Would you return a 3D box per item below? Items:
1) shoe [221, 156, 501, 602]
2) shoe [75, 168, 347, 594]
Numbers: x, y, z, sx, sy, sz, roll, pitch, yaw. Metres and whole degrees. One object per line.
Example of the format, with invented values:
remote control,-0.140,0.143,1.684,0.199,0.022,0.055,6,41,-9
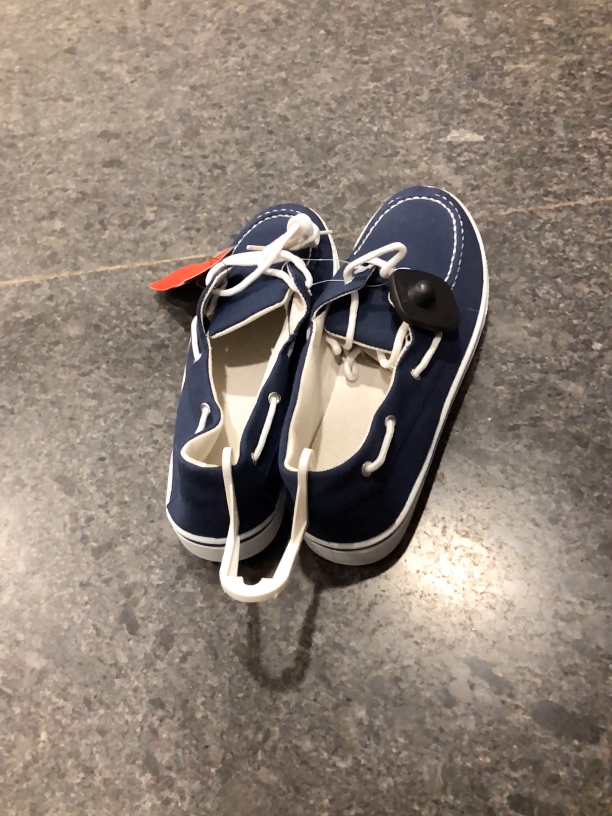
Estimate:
shoe,0.050,-0.027,0.423,0.096,0.115,0.247,9,60,18
shoe,-0.041,-0.024,0.438,0.096,0.115,0.249,1,57,13
